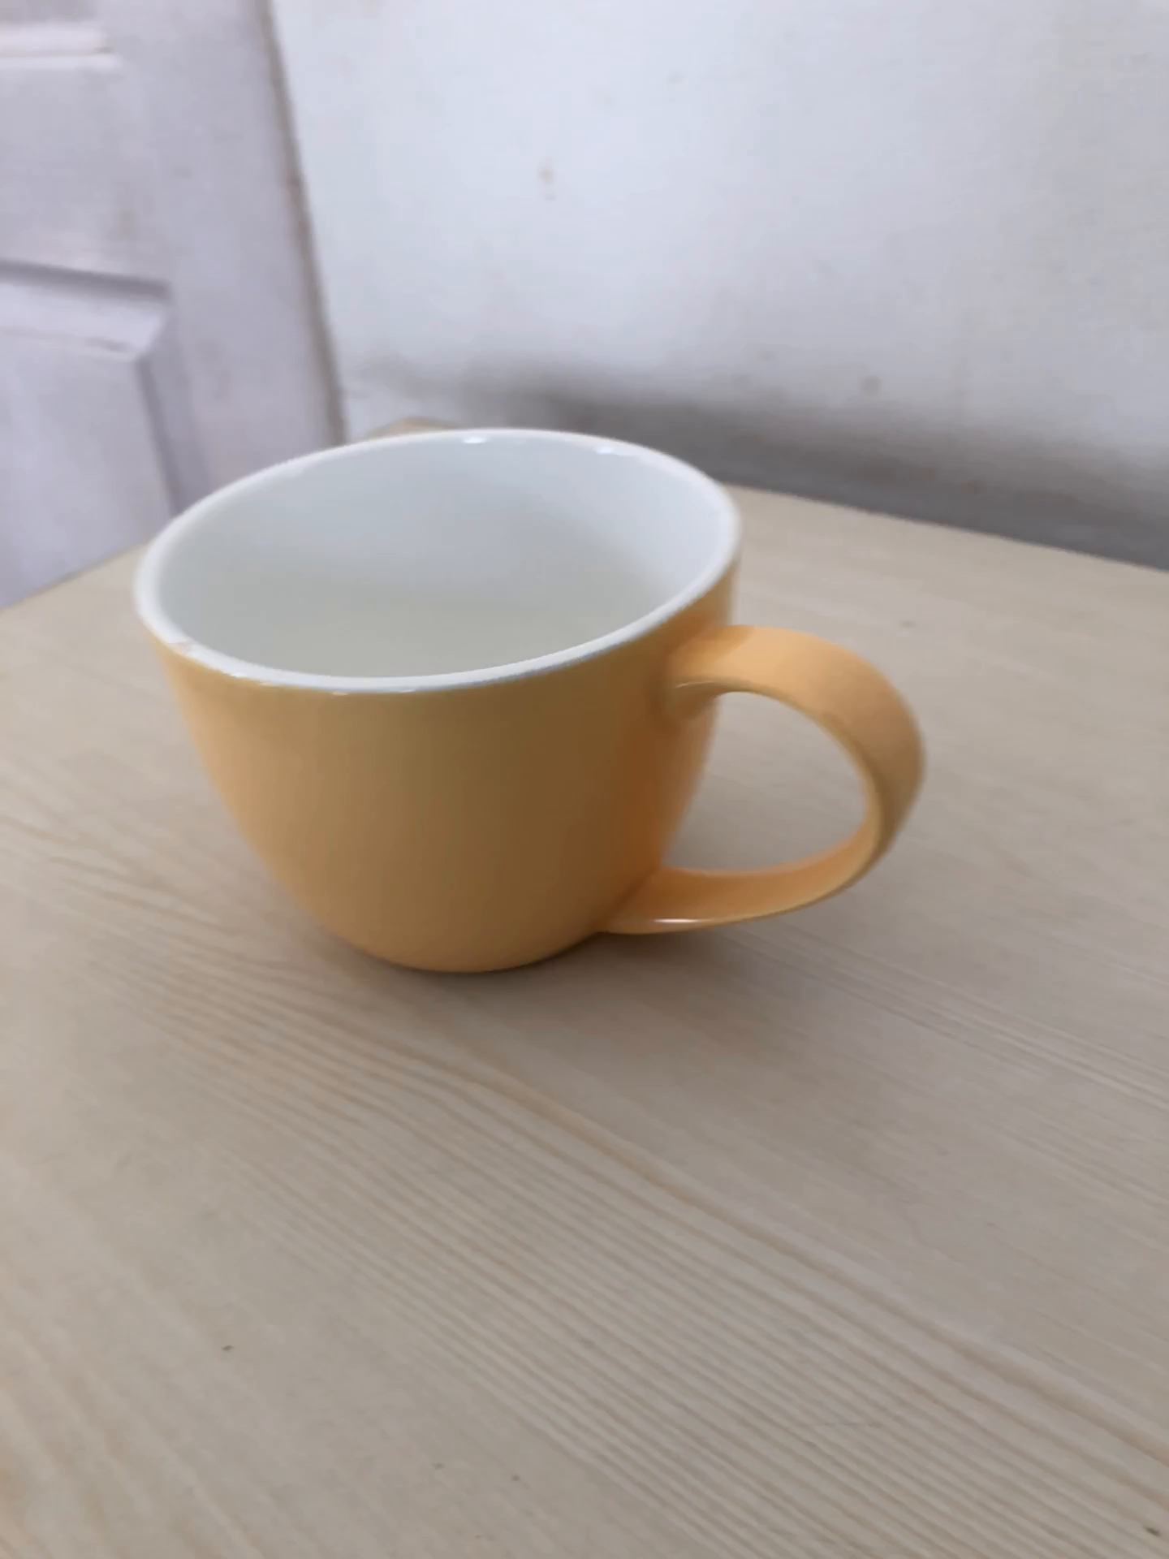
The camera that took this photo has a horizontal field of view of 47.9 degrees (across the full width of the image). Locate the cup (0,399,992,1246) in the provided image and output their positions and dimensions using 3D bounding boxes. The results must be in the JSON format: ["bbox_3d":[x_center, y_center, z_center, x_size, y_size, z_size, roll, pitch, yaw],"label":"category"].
[{"bbox_3d":[-0.015,-0.007,0.248,0.140,0.079,0.101,21,42,33],"label":"cup"}]
